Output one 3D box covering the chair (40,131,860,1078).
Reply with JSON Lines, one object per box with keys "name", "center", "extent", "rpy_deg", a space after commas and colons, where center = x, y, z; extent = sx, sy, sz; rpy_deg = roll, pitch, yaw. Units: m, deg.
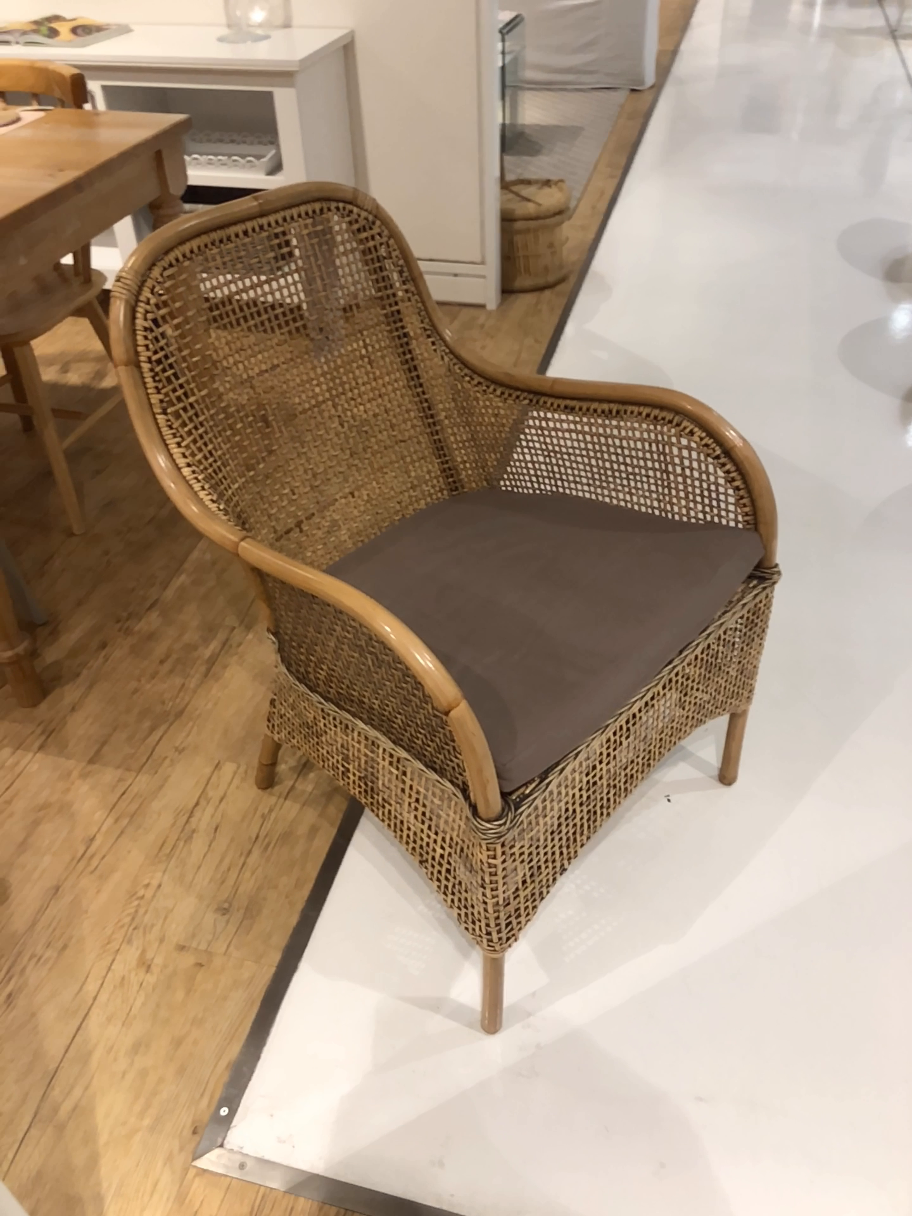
{"name": "chair", "center": [0.010, -0.023, 1.287], "extent": [0.622, 0.903, 0.543], "rpy_deg": [26, 47, 31]}
